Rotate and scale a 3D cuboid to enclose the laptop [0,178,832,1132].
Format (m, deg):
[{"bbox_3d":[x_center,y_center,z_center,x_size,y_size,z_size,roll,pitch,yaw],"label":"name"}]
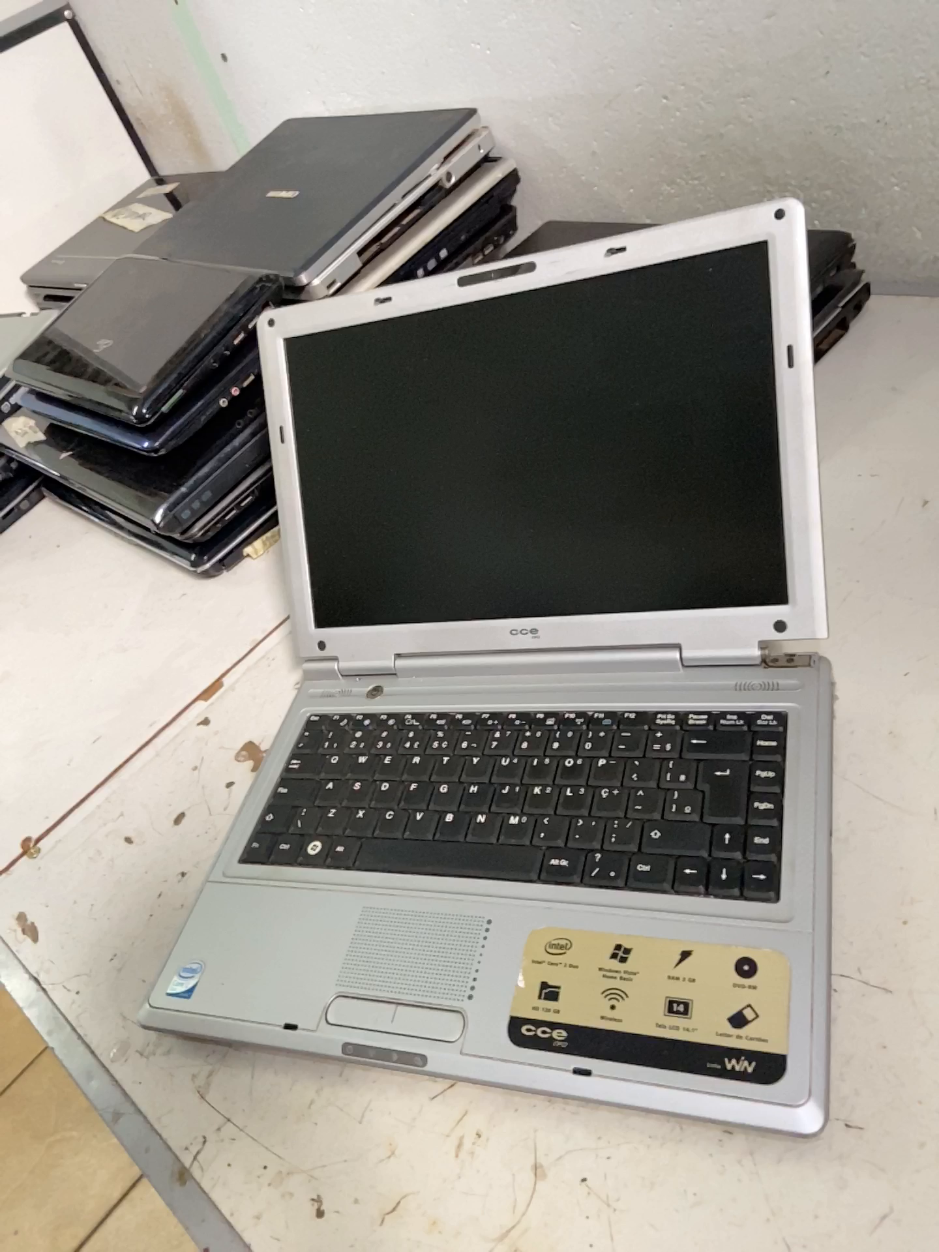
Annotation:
[{"bbox_3d":[-0.003,-0.010,0.497,0.338,0.190,0.389,-3,45,25],"label":"laptop"}]
